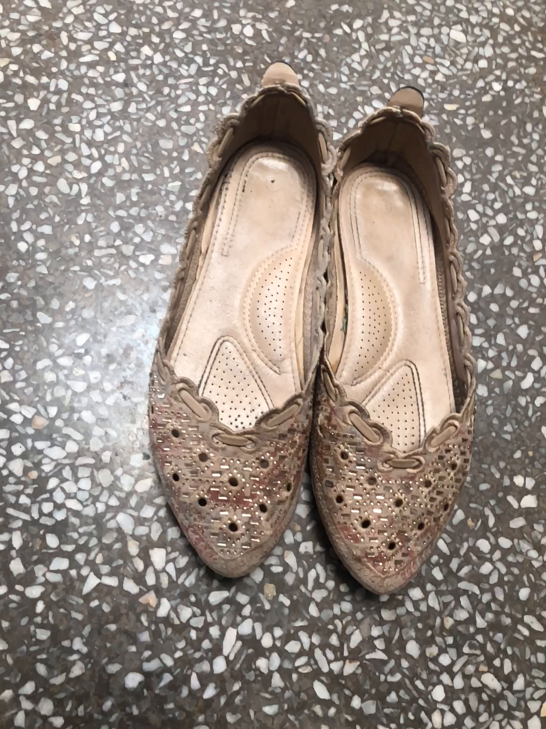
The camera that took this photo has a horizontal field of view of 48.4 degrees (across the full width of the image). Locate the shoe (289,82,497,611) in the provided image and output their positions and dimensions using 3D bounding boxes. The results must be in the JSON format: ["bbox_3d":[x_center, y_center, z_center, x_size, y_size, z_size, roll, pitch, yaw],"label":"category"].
[{"bbox_3d":[0.068,-0.015,0.332,0.090,0.040,0.270,7,77,-7],"label":"shoe"}]

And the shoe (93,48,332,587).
[{"bbox_3d":[-0.025,-0.033,0.327,0.090,0.040,0.280,7,73,-7],"label":"shoe"}]
